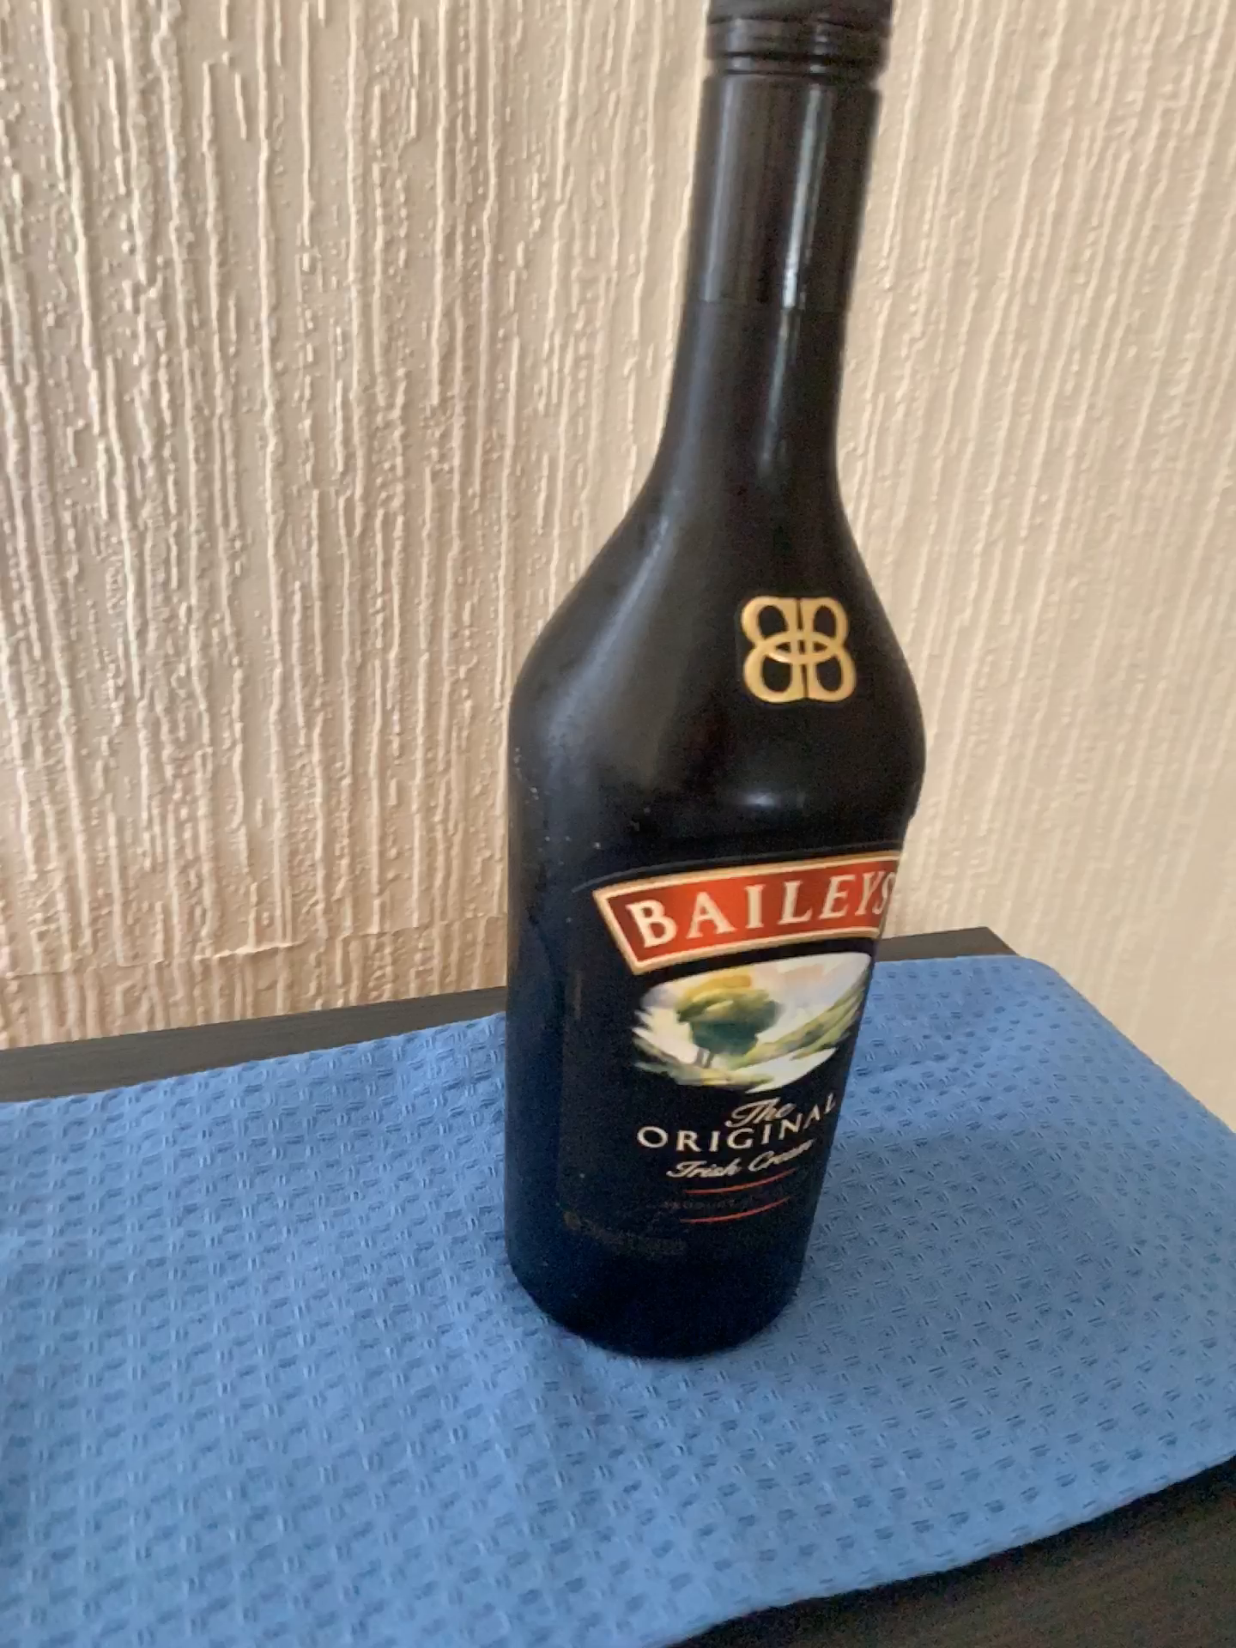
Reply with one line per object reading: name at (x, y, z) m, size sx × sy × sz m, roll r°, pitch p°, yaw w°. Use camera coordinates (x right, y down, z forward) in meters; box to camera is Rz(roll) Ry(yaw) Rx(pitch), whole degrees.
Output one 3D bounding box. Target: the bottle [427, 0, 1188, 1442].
bottle at (0.016, -0.015, 0.258) m, size 0.090 × 0.287 × 0.071 m, roll -6°, pitch 28°, yaw -21°
